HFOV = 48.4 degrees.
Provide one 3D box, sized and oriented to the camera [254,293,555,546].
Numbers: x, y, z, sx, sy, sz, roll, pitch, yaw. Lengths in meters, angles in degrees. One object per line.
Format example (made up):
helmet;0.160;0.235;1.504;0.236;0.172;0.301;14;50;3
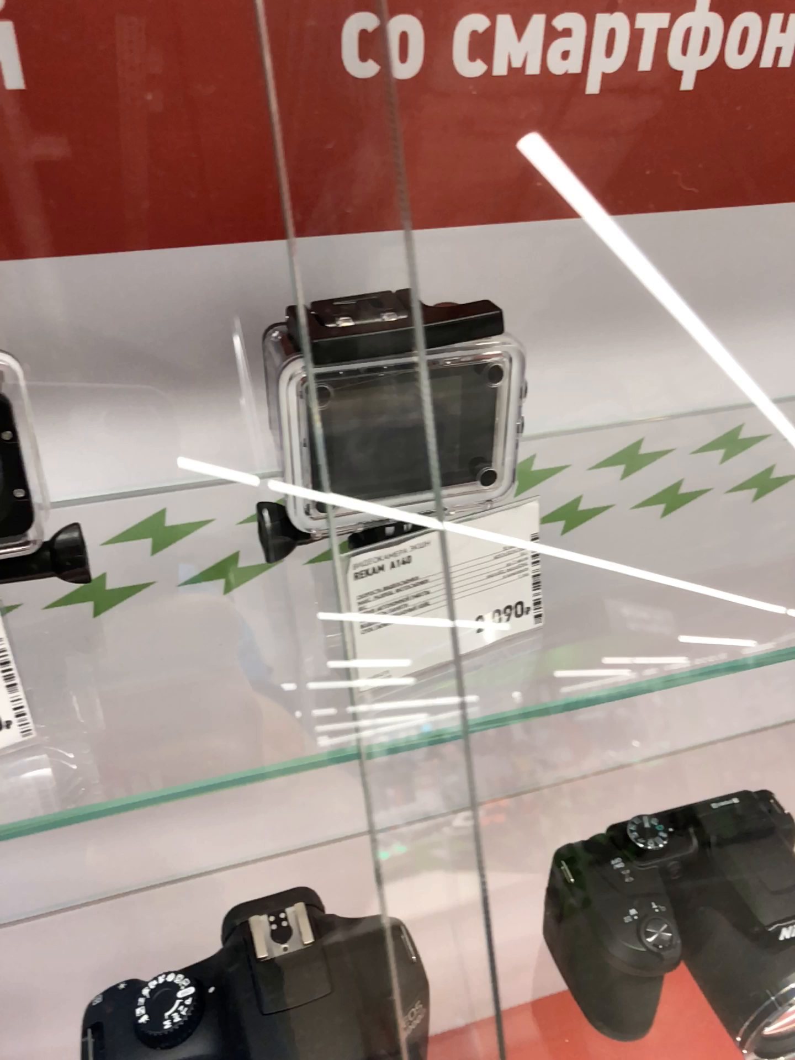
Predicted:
camera;0.001;-0.035;0.262;0.075;0.053;0.040;-10;33;-16
